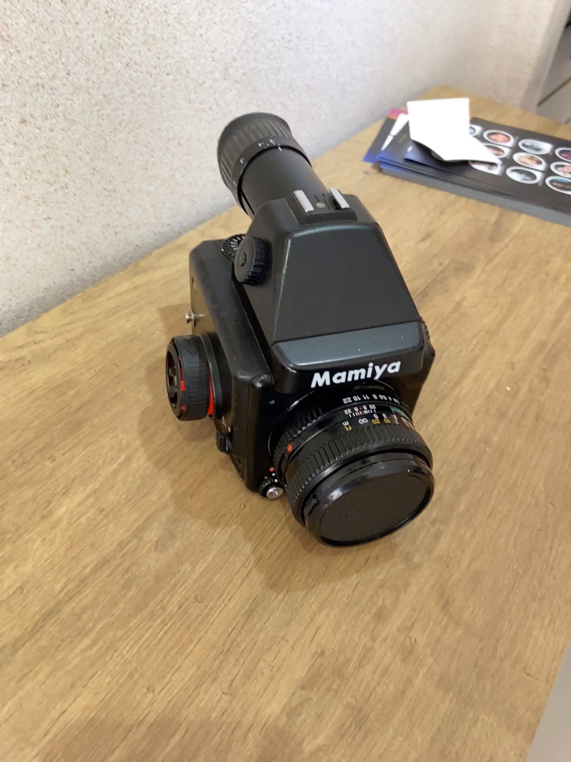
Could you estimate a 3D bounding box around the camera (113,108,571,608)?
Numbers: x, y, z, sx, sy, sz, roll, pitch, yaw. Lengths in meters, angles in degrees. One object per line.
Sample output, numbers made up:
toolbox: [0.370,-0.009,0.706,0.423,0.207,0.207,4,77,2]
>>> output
camera: [0.001,-0.032,0.294,0.120,0.109,0.221,-12,48,-17]
